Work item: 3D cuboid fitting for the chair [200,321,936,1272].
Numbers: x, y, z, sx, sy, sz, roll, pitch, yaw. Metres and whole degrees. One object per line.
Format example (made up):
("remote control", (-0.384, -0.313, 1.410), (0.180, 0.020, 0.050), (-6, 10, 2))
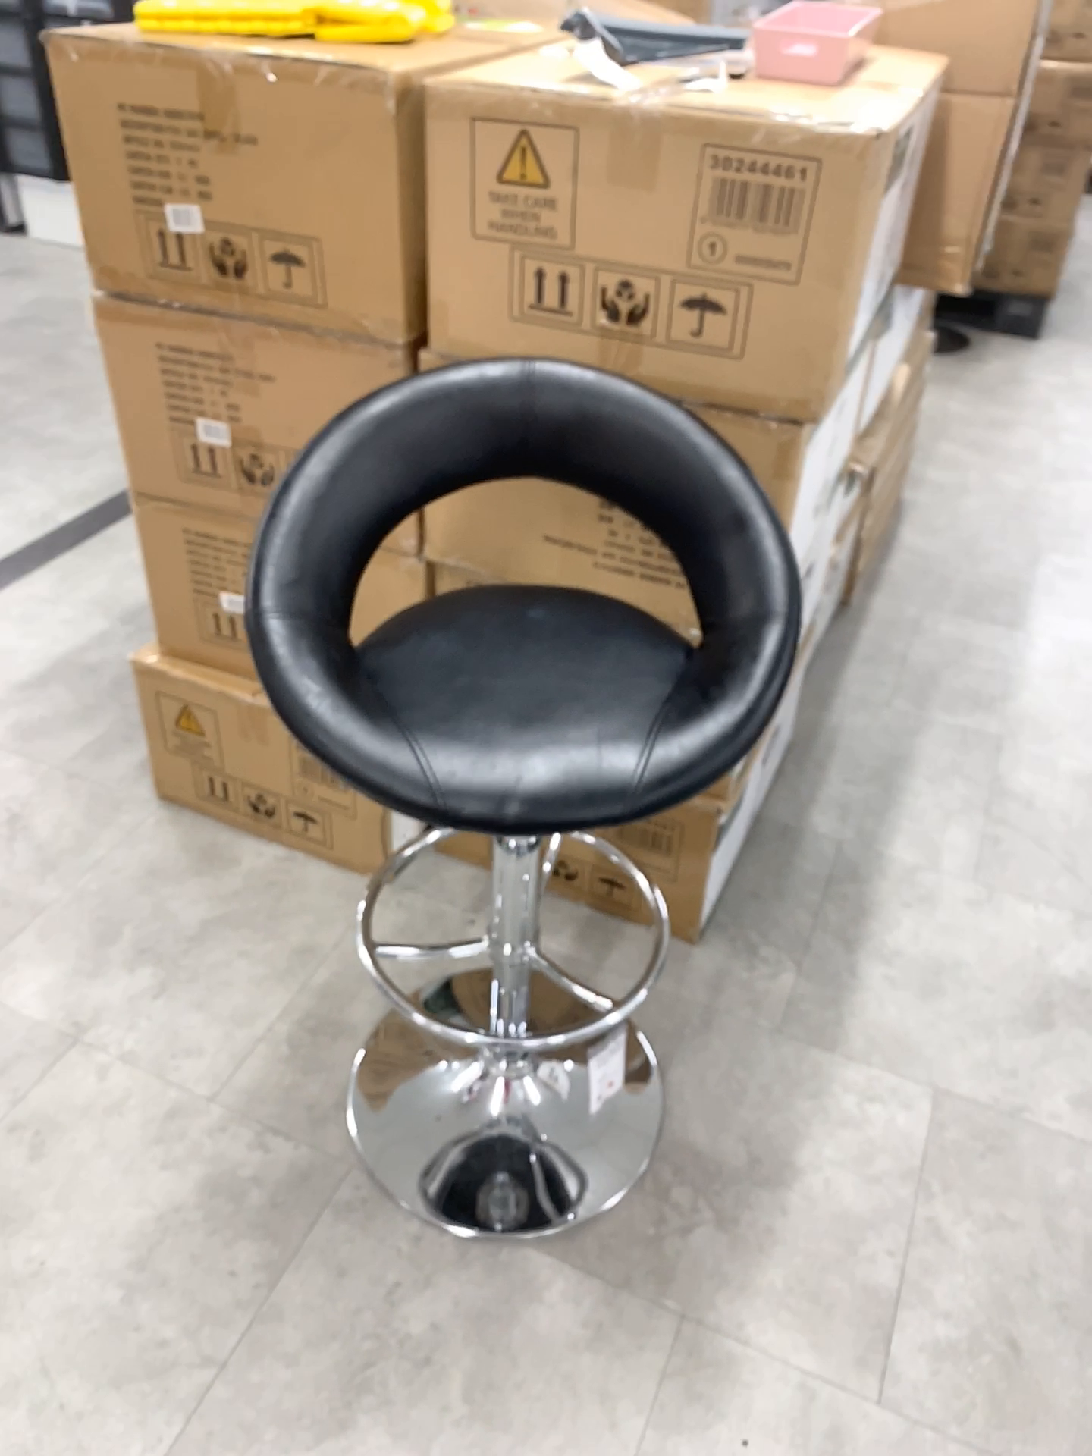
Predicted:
("chair", (-0.018, 0.106, 1.249), (0.509, 0.933, 0.487), (-1, 37, -5))
